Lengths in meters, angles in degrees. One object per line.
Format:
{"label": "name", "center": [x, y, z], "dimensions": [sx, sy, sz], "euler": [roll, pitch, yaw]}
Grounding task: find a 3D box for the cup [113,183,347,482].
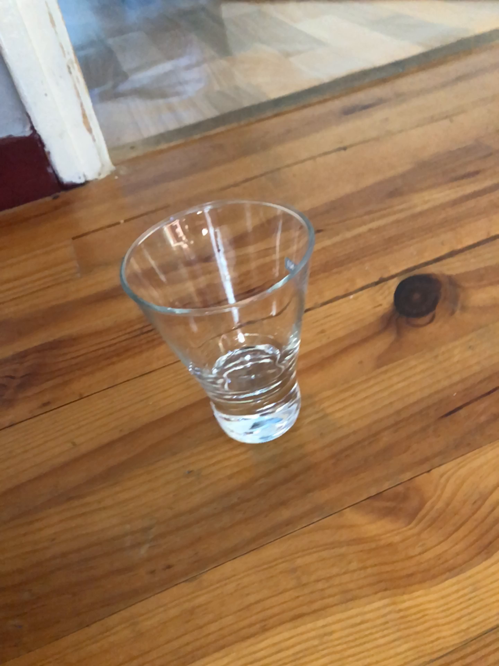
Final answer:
{"label": "cup", "center": [-0.010, -0.002, 0.278], "dimensions": [0.088, 0.097, 0.092], "euler": [-7, 40, 6]}
